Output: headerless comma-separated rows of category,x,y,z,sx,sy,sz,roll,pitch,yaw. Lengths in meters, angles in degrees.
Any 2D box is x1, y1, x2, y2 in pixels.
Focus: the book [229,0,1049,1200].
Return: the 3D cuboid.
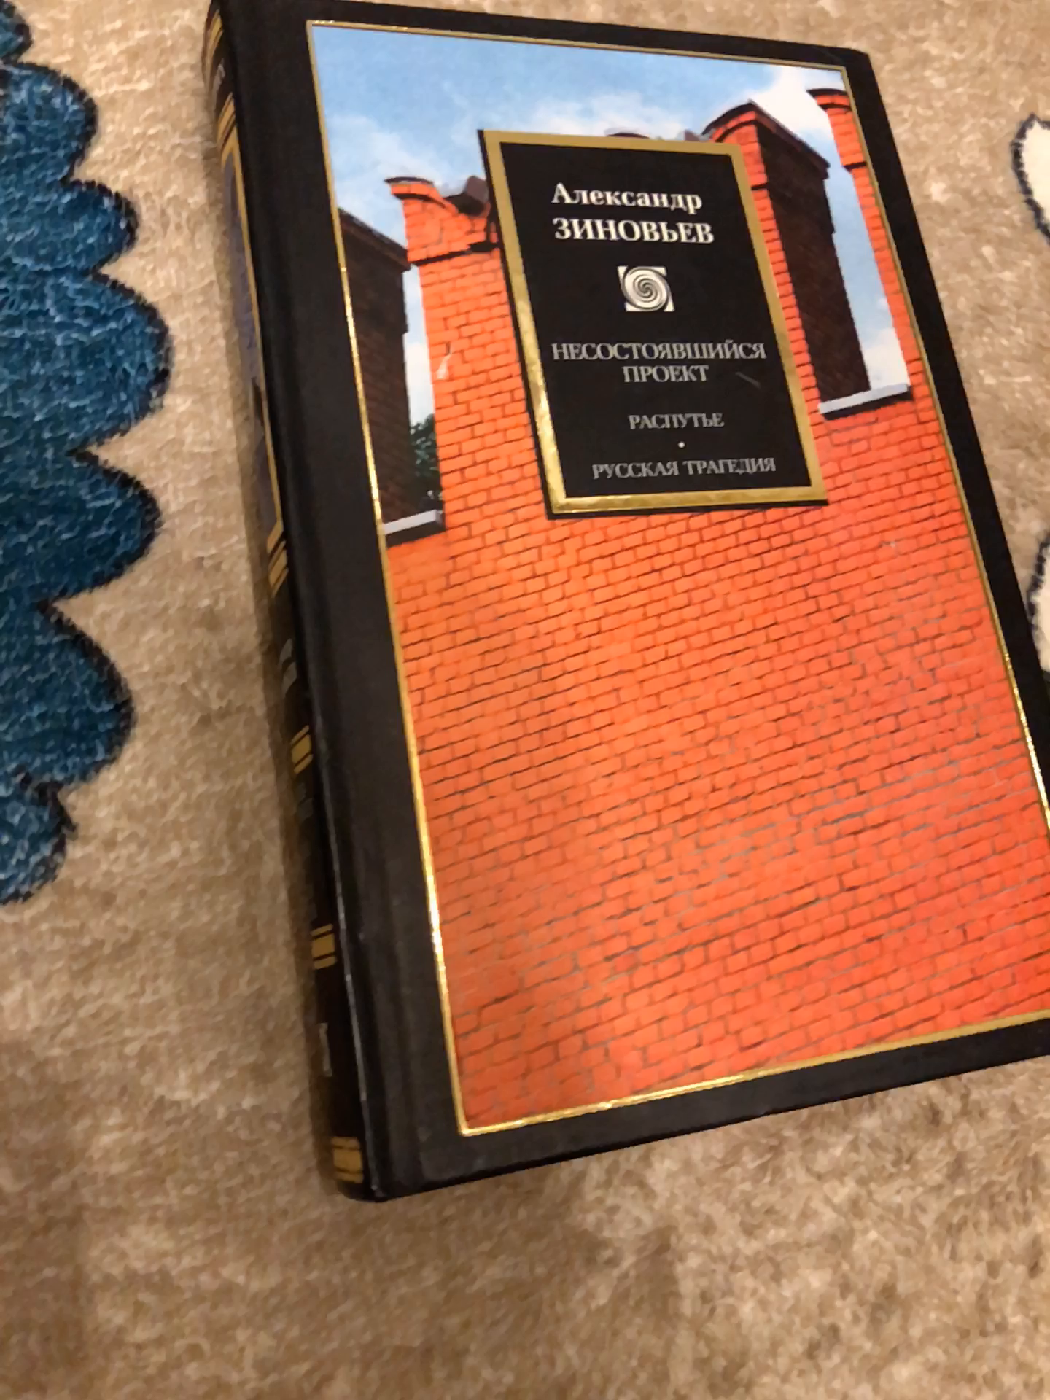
book,0.027,-0.037,0.212,0.140,0.040,0.210,-4,74,-17
